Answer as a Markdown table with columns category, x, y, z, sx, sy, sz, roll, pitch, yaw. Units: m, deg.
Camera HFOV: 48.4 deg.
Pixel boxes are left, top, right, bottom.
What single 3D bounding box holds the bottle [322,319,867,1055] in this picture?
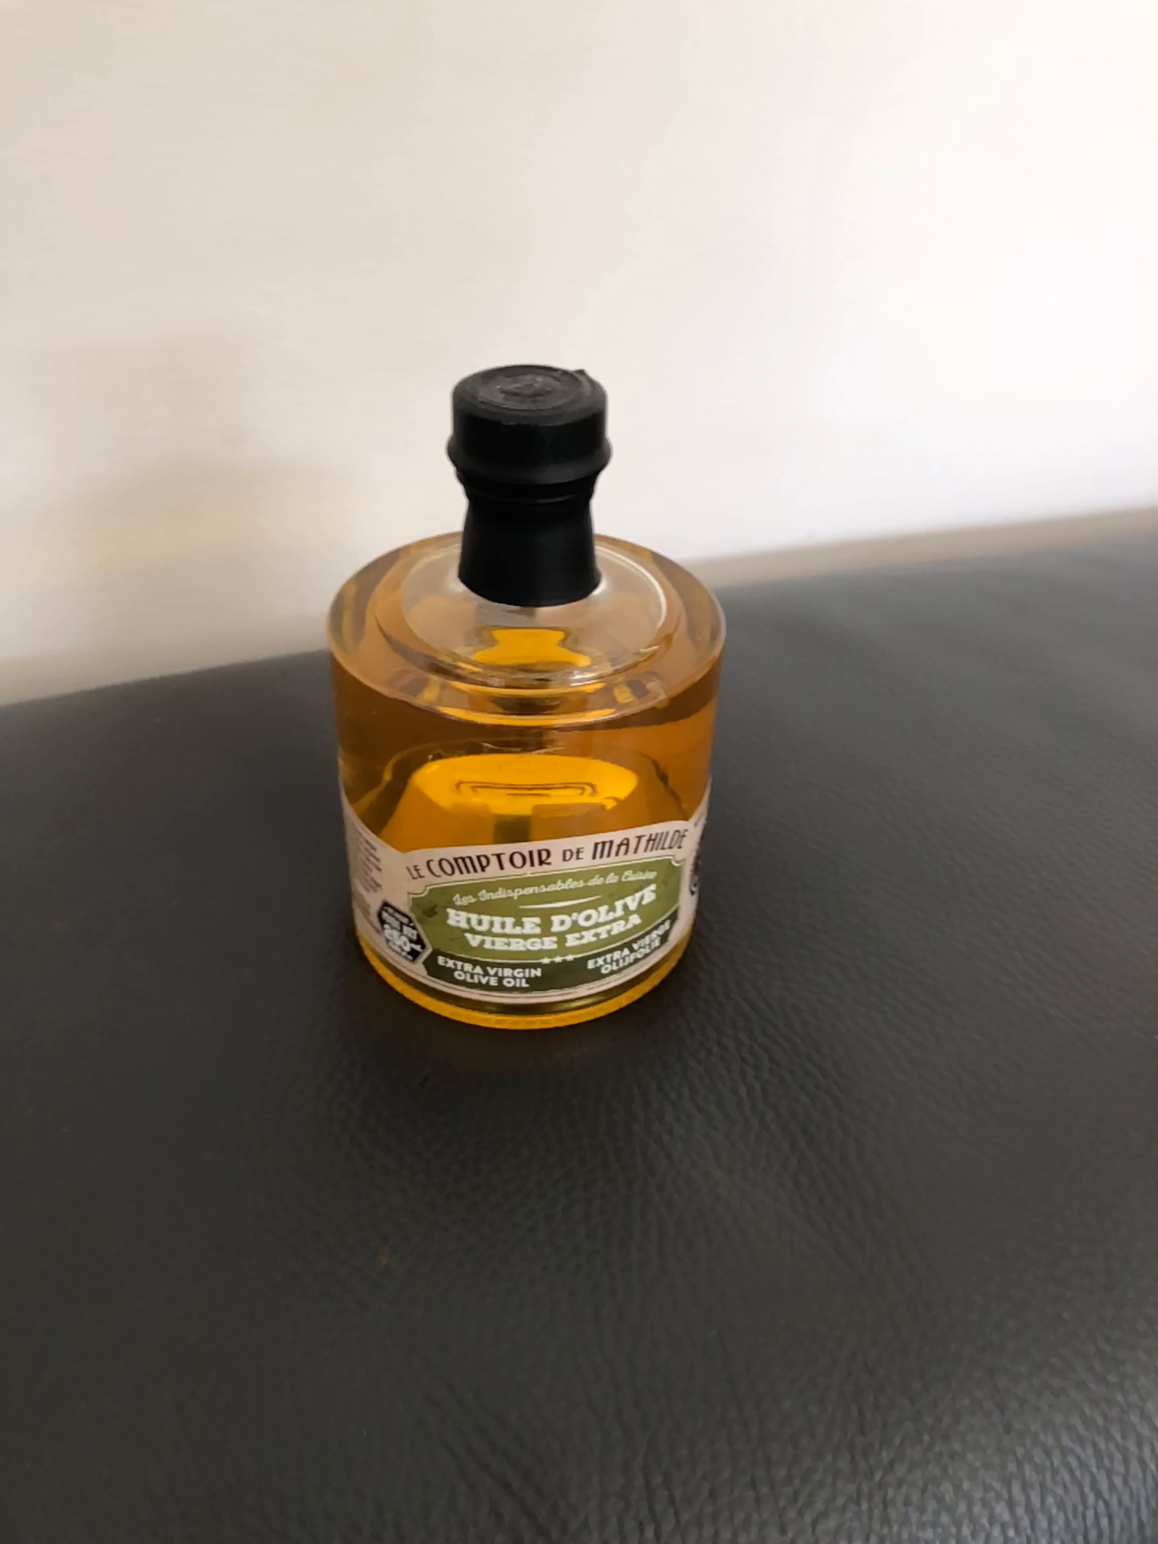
| category | x | y | z | sx | sy | sz | roll | pitch | yaw |
| --- | --- | --- | --- | --- | --- | --- | --- | --- | --- |
| bottle | -0.007 | -0.021 | 0.285 | 0.090 | 0.129 | 0.090 | 3 | 35 | -2 |
